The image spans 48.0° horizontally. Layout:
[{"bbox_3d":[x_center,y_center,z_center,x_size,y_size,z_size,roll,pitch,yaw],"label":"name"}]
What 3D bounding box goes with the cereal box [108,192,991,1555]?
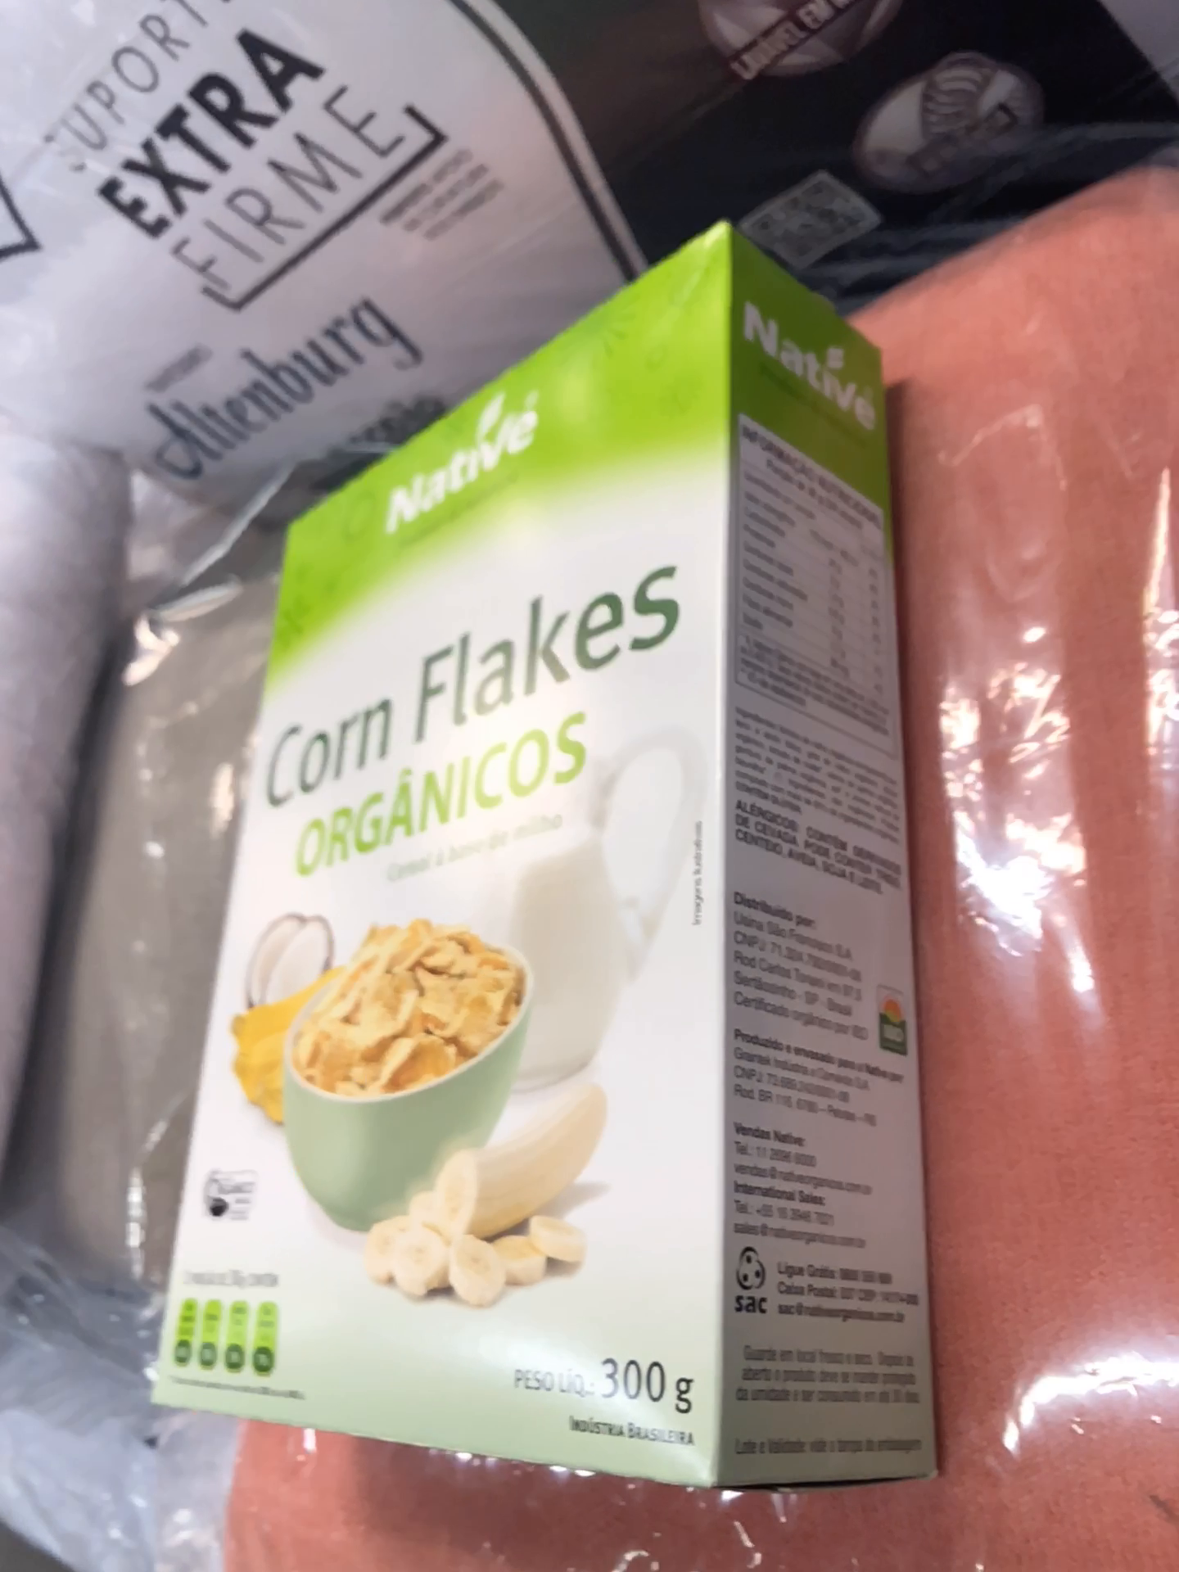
[{"bbox_3d":[-0.015,0.021,0.300,0.181,0.060,0.240,-18,59,41],"label":"cereal box"}]
